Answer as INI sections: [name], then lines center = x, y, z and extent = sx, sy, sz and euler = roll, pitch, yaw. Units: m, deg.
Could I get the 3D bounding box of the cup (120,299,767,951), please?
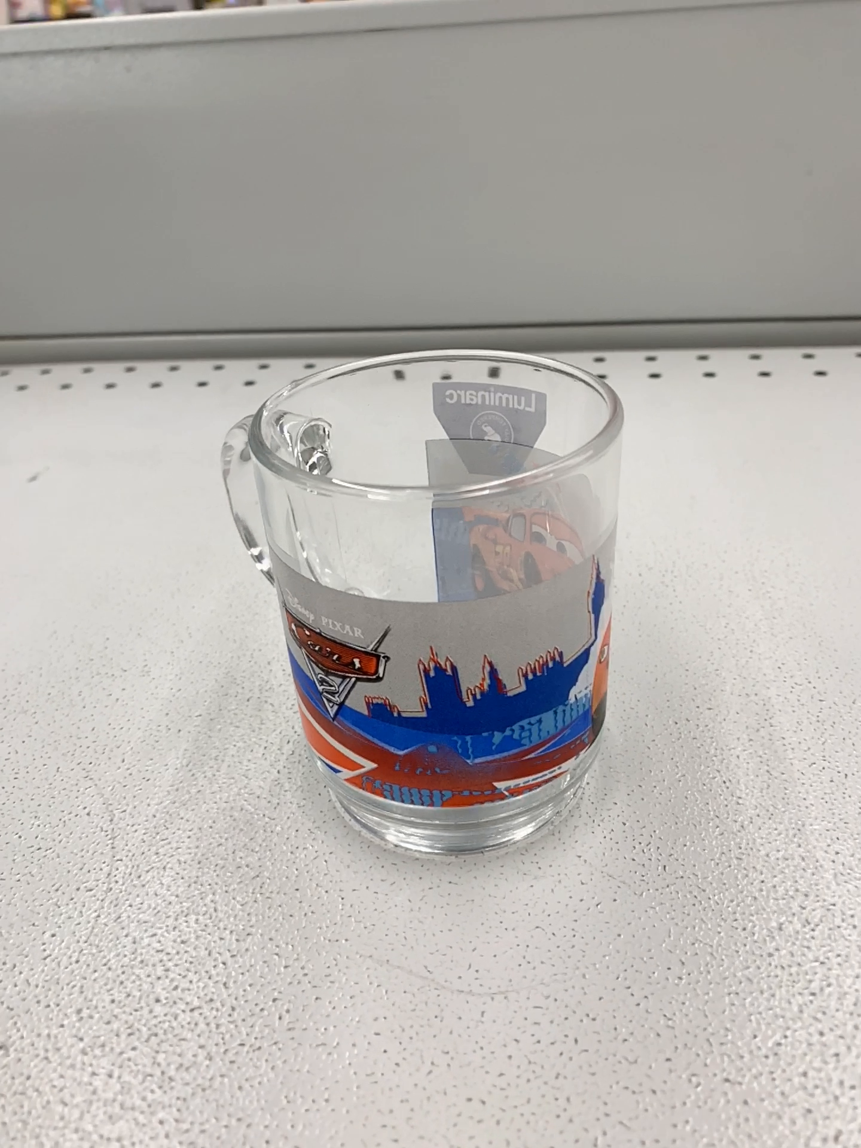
[cup]
center = 0.000, -0.001, 0.189
extent = 0.072, 0.081, 0.102
euler = -27, 38, -32
